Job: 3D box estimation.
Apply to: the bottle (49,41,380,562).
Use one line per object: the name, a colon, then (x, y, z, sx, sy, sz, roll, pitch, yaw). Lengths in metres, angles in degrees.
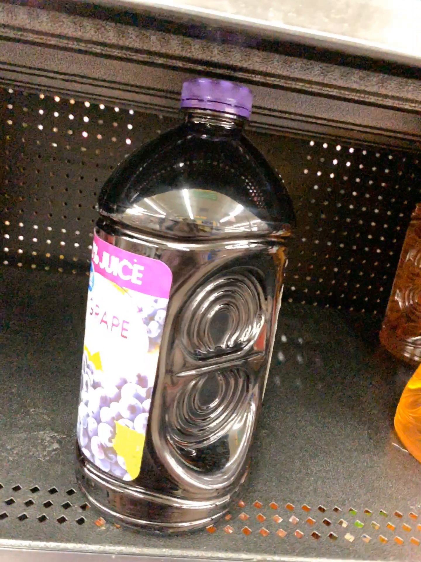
bottle: (-0.017, 0.013, 0.300, 0.140, 0.279, 0.130, 8, 17, -3)
